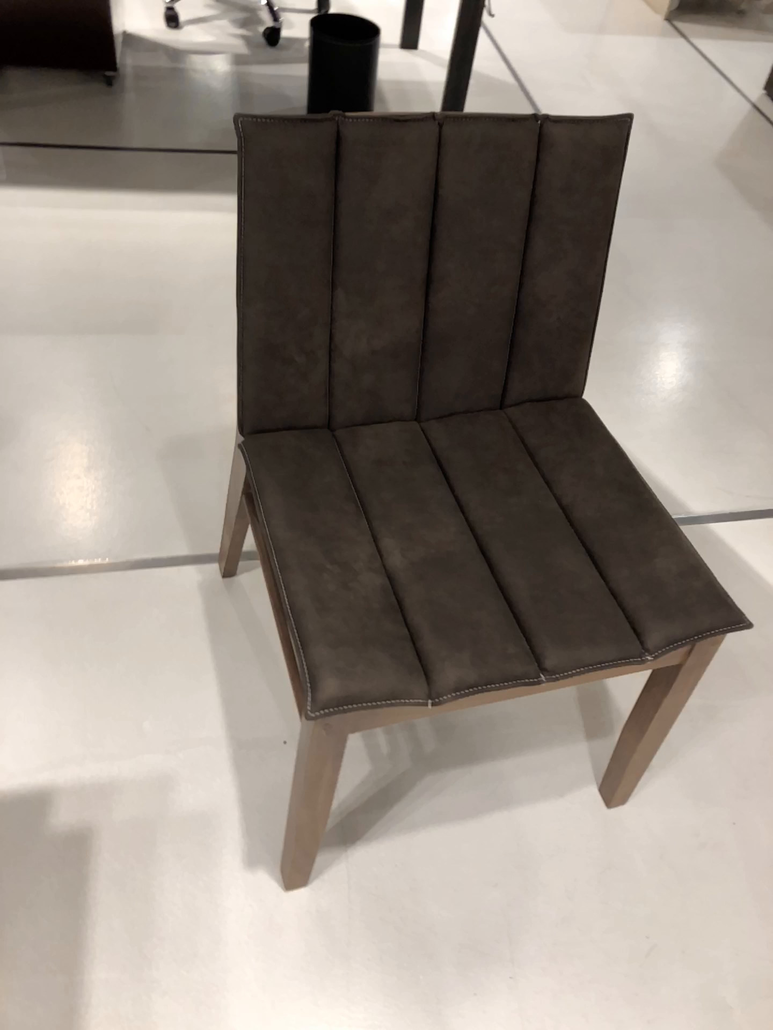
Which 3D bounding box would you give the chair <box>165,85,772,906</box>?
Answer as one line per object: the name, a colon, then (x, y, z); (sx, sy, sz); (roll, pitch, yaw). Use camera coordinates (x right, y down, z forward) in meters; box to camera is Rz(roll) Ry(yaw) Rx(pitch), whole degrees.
chair: (0.069, 0.000, 1.039); (0.541, 0.775, 0.573); (-8, 51, -15)
